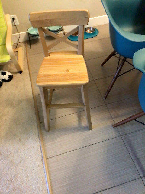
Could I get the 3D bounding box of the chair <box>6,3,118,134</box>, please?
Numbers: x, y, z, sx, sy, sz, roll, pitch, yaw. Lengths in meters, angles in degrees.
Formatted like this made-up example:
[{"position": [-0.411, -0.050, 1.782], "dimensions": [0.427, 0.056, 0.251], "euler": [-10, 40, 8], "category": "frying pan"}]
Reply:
[{"position": [-0.038, -0.127, 1.038], "dimensions": [0.440, 0.686, 0.493], "euler": [-3, 56, 1], "category": "chair"}]
